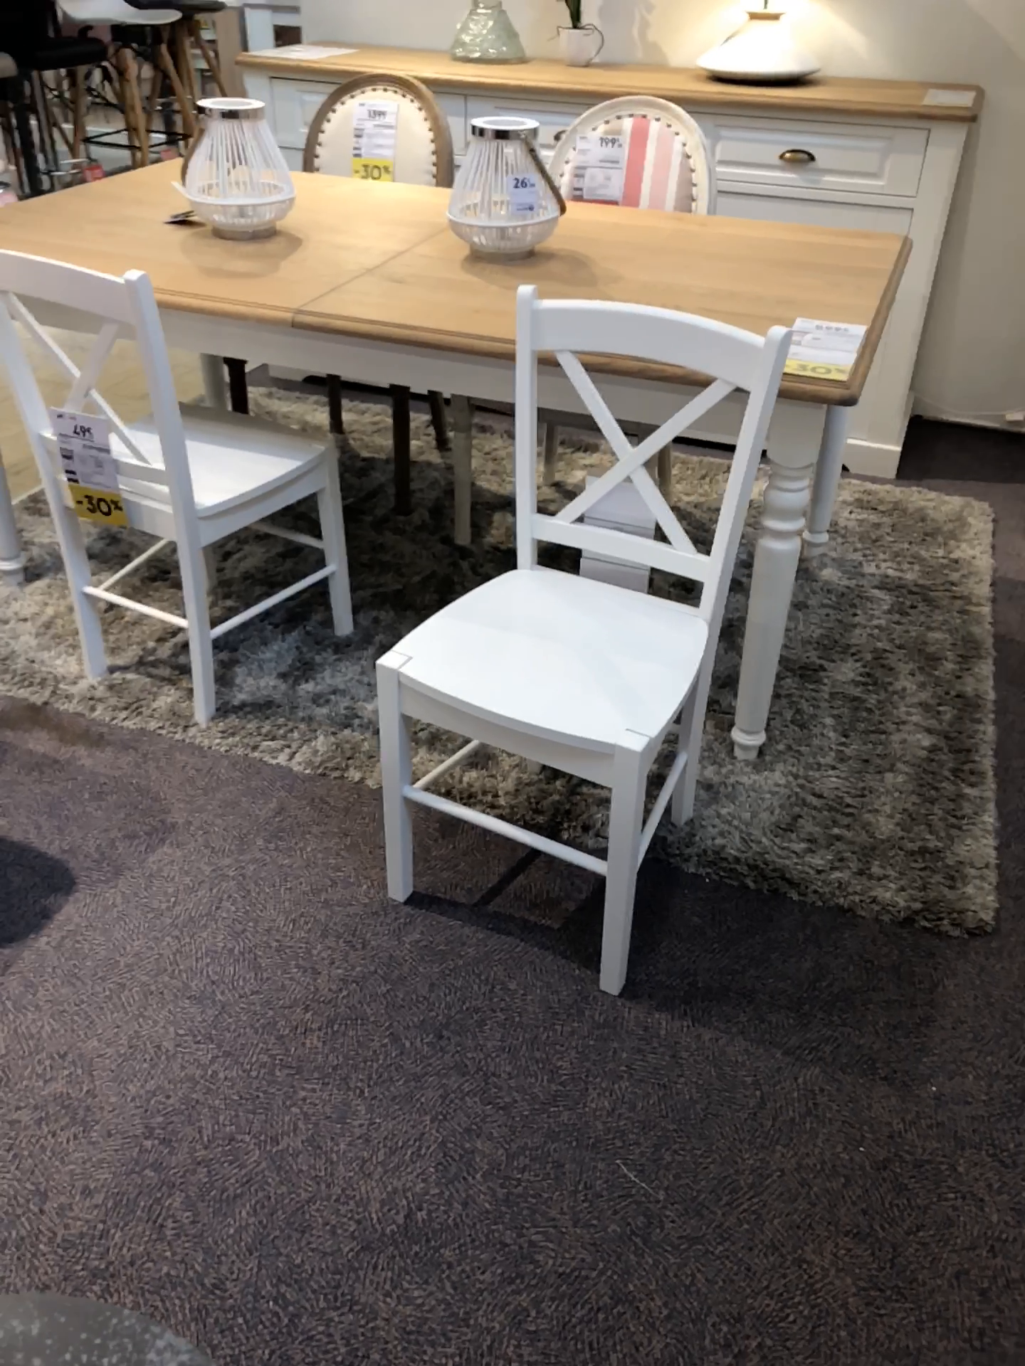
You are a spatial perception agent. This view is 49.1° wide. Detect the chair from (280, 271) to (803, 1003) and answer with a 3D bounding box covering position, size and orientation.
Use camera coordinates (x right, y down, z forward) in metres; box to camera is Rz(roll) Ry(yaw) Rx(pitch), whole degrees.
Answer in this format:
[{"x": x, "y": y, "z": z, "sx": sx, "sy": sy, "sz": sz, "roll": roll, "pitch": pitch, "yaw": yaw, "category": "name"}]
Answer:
[{"x": 0.047, "y": -0.076, "z": 1.533, "sx": 0.460, "sy": 0.785, "sz": 0.463, "roll": 16, "pitch": 36, "yaw": 21, "category": "chair"}]
